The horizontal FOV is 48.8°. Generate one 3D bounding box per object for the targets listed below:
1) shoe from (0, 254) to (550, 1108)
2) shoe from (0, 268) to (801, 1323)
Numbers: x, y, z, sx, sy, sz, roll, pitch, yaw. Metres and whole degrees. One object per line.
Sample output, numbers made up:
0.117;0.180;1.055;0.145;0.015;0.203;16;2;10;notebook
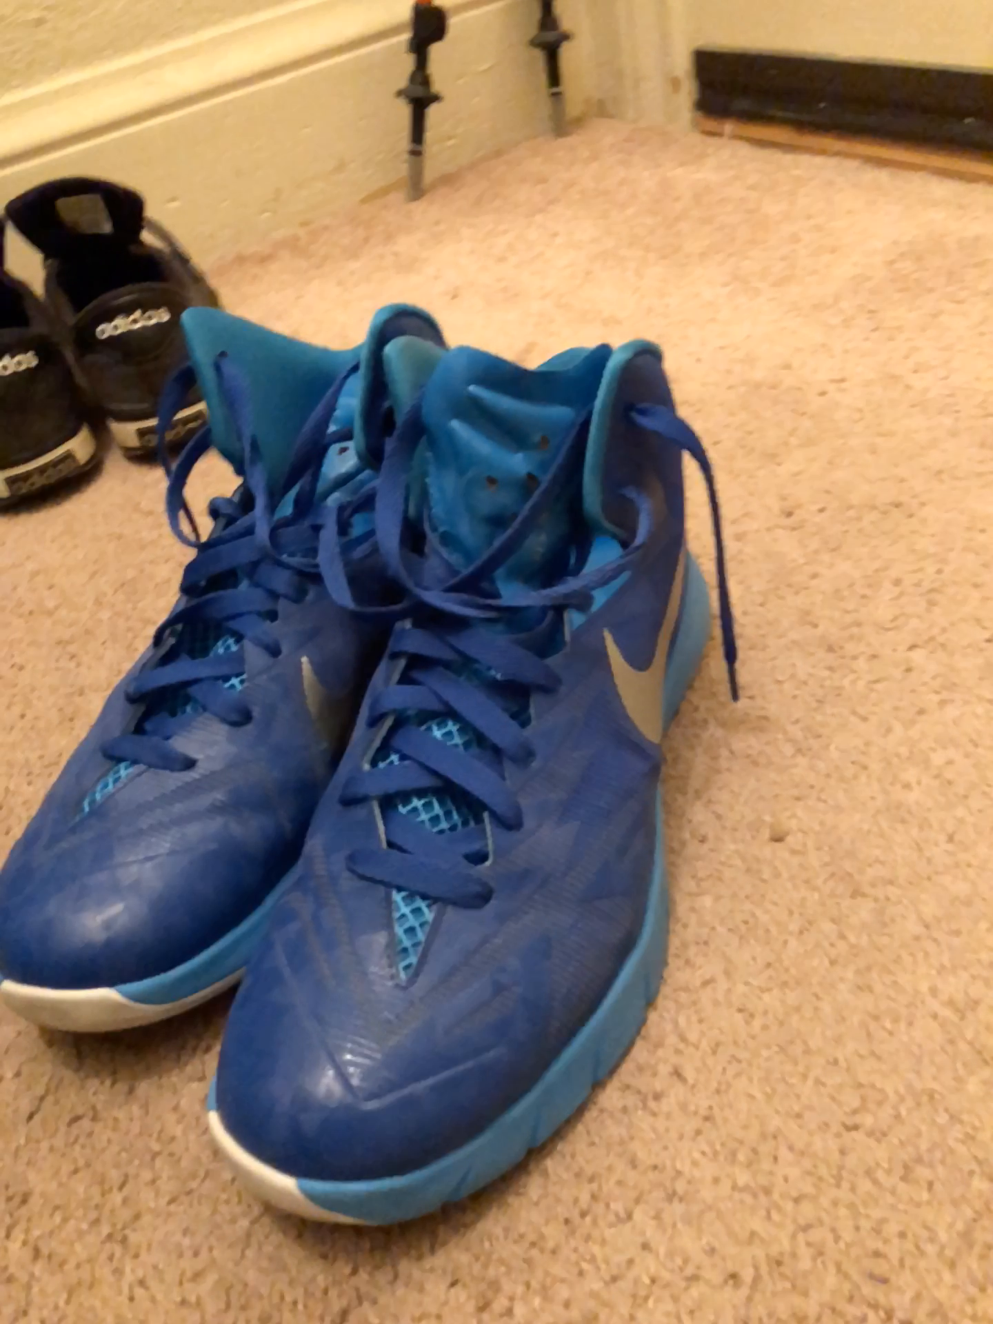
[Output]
-0.101;-0.022;0.387;0.120;0.134;0.279;10;45;26;shoe
-0.003;0.009;0.321;0.122;0.134;0.281;8;44;25;shoe
